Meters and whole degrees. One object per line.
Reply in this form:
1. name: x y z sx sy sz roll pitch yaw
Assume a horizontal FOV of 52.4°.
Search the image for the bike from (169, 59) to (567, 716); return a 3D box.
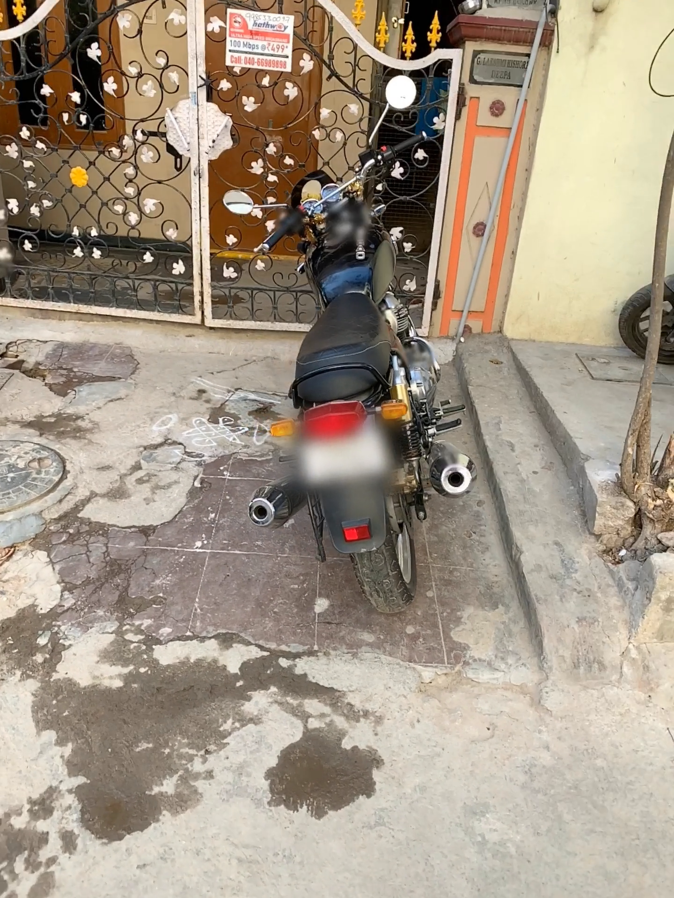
1. bike: -0.056 -0.444 2.482 0.791 1.521 1.913 1 30 -5
